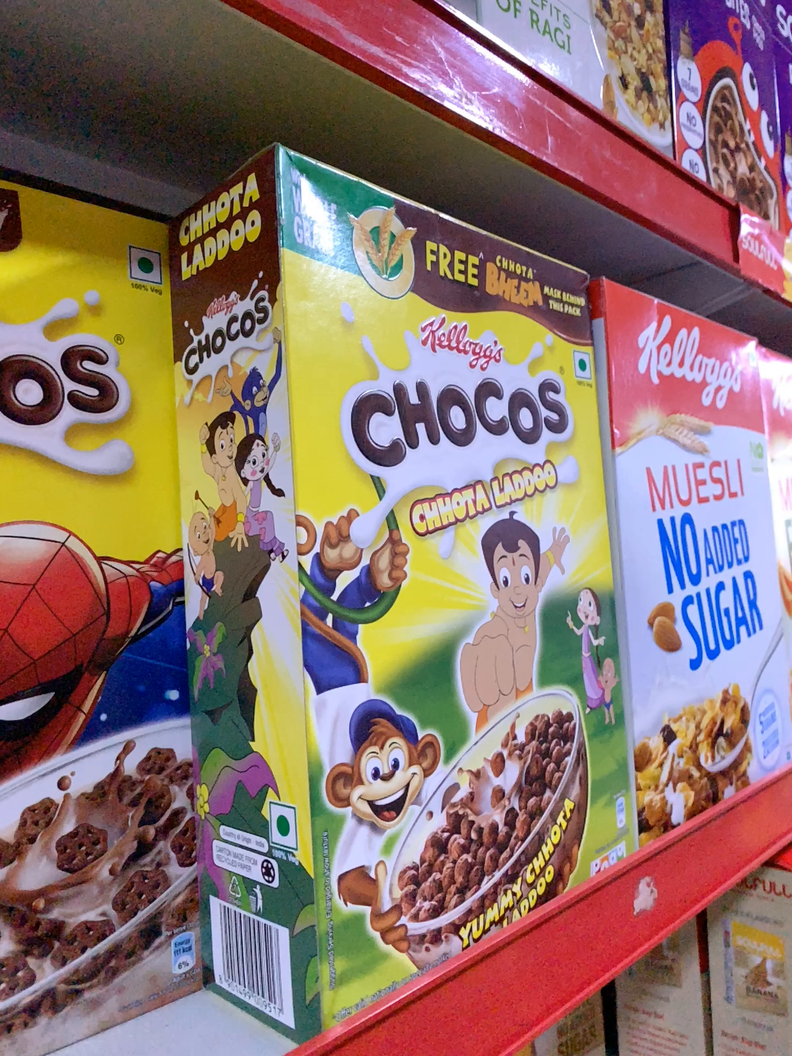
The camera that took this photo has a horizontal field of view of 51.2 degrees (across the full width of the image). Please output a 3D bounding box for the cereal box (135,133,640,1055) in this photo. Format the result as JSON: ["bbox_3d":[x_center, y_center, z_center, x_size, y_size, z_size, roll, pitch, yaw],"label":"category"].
[{"bbox_3d":[0.006,0.018,0.316,0.070,0.260,0.180,-8,-6,44],"label":"cereal box"}]
